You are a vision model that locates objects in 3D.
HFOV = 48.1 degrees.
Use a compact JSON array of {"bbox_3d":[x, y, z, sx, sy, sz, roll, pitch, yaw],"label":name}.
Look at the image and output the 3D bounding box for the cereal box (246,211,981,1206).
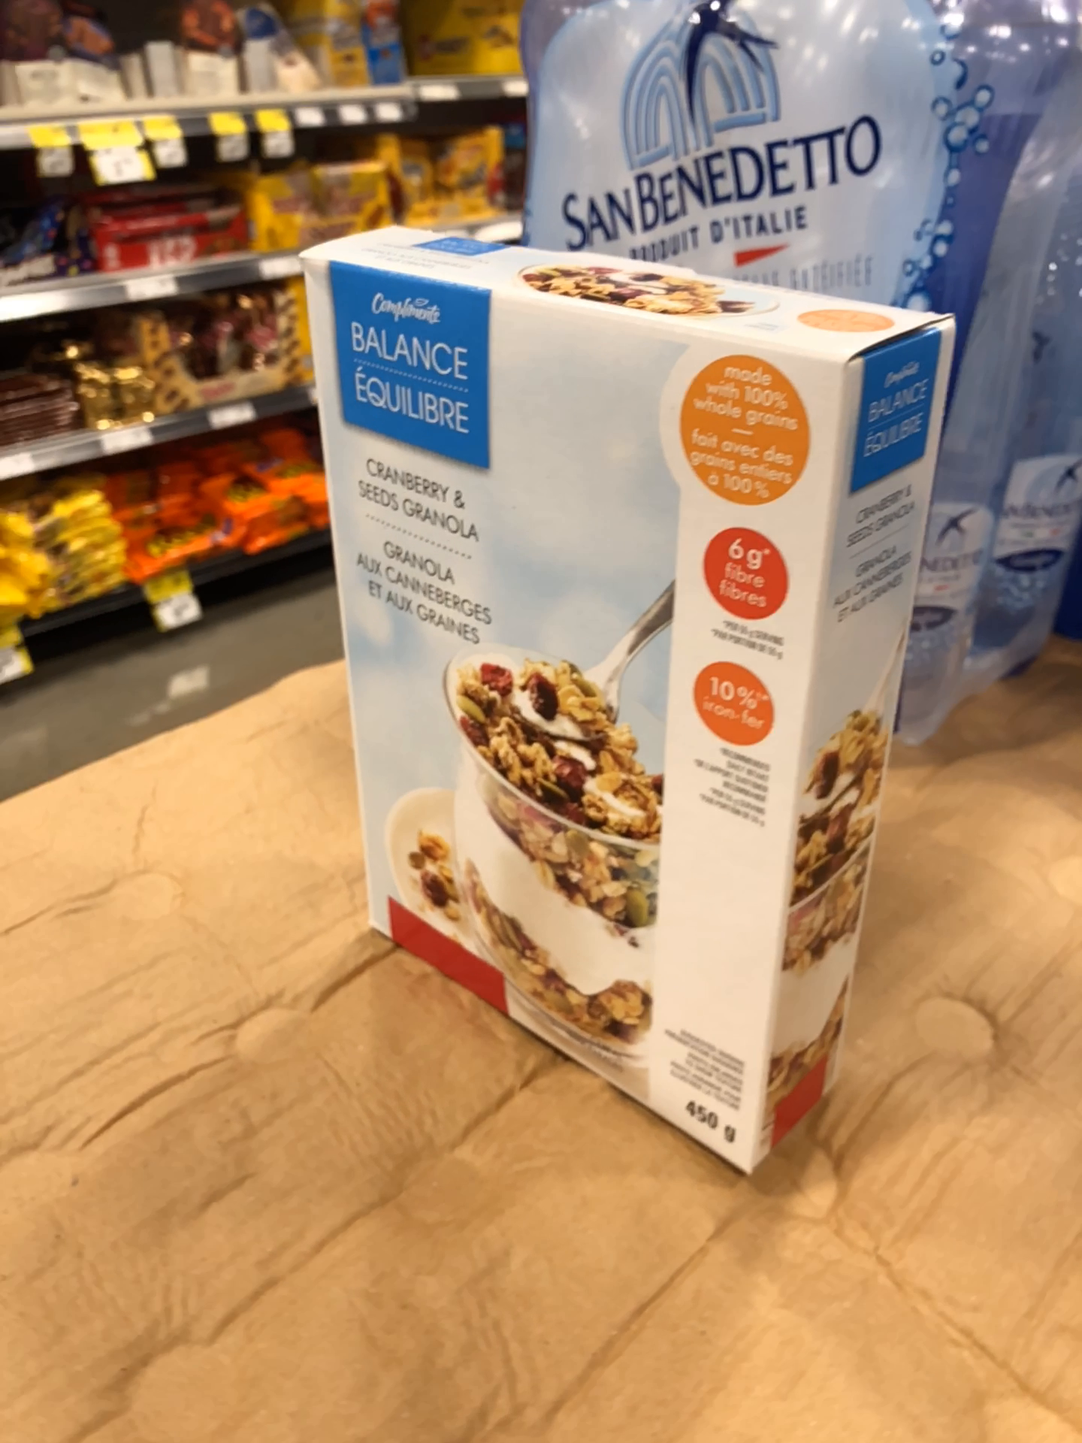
[{"bbox_3d":[0.006,-0.009,0.338,0.180,0.229,0.050,24,38,36],"label":"cereal box"}]
